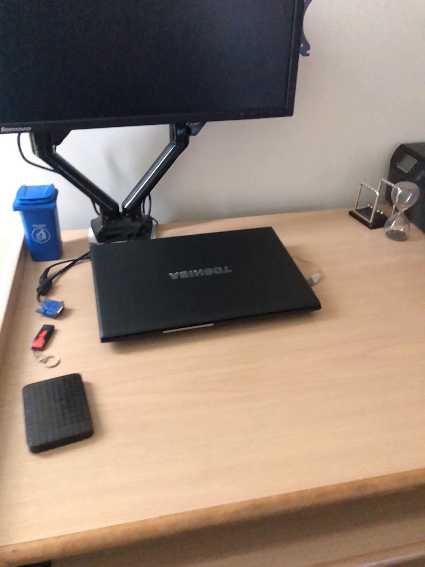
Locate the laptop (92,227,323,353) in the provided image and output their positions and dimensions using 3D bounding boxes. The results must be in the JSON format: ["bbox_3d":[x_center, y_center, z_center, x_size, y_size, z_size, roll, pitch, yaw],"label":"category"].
[{"bbox_3d":[-0.022,-0.005,0.881,0.380,0.029,0.258,-7,41,-13],"label":"laptop"}]
